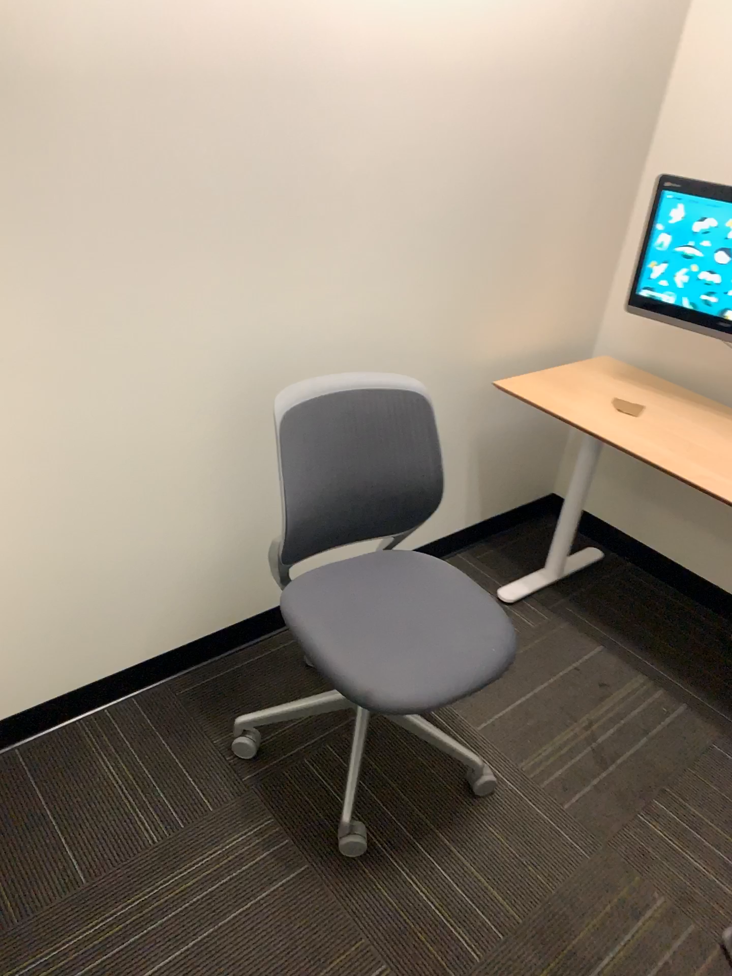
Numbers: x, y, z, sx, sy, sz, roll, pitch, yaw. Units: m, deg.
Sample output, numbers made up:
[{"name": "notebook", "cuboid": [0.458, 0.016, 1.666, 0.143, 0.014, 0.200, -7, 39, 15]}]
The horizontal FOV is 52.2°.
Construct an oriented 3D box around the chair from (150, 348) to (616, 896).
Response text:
[{"name": "chair", "cuboid": [-0.059, 0.245, 1.940, 0.720, 0.885, 0.904, -11, 35, -29]}]
